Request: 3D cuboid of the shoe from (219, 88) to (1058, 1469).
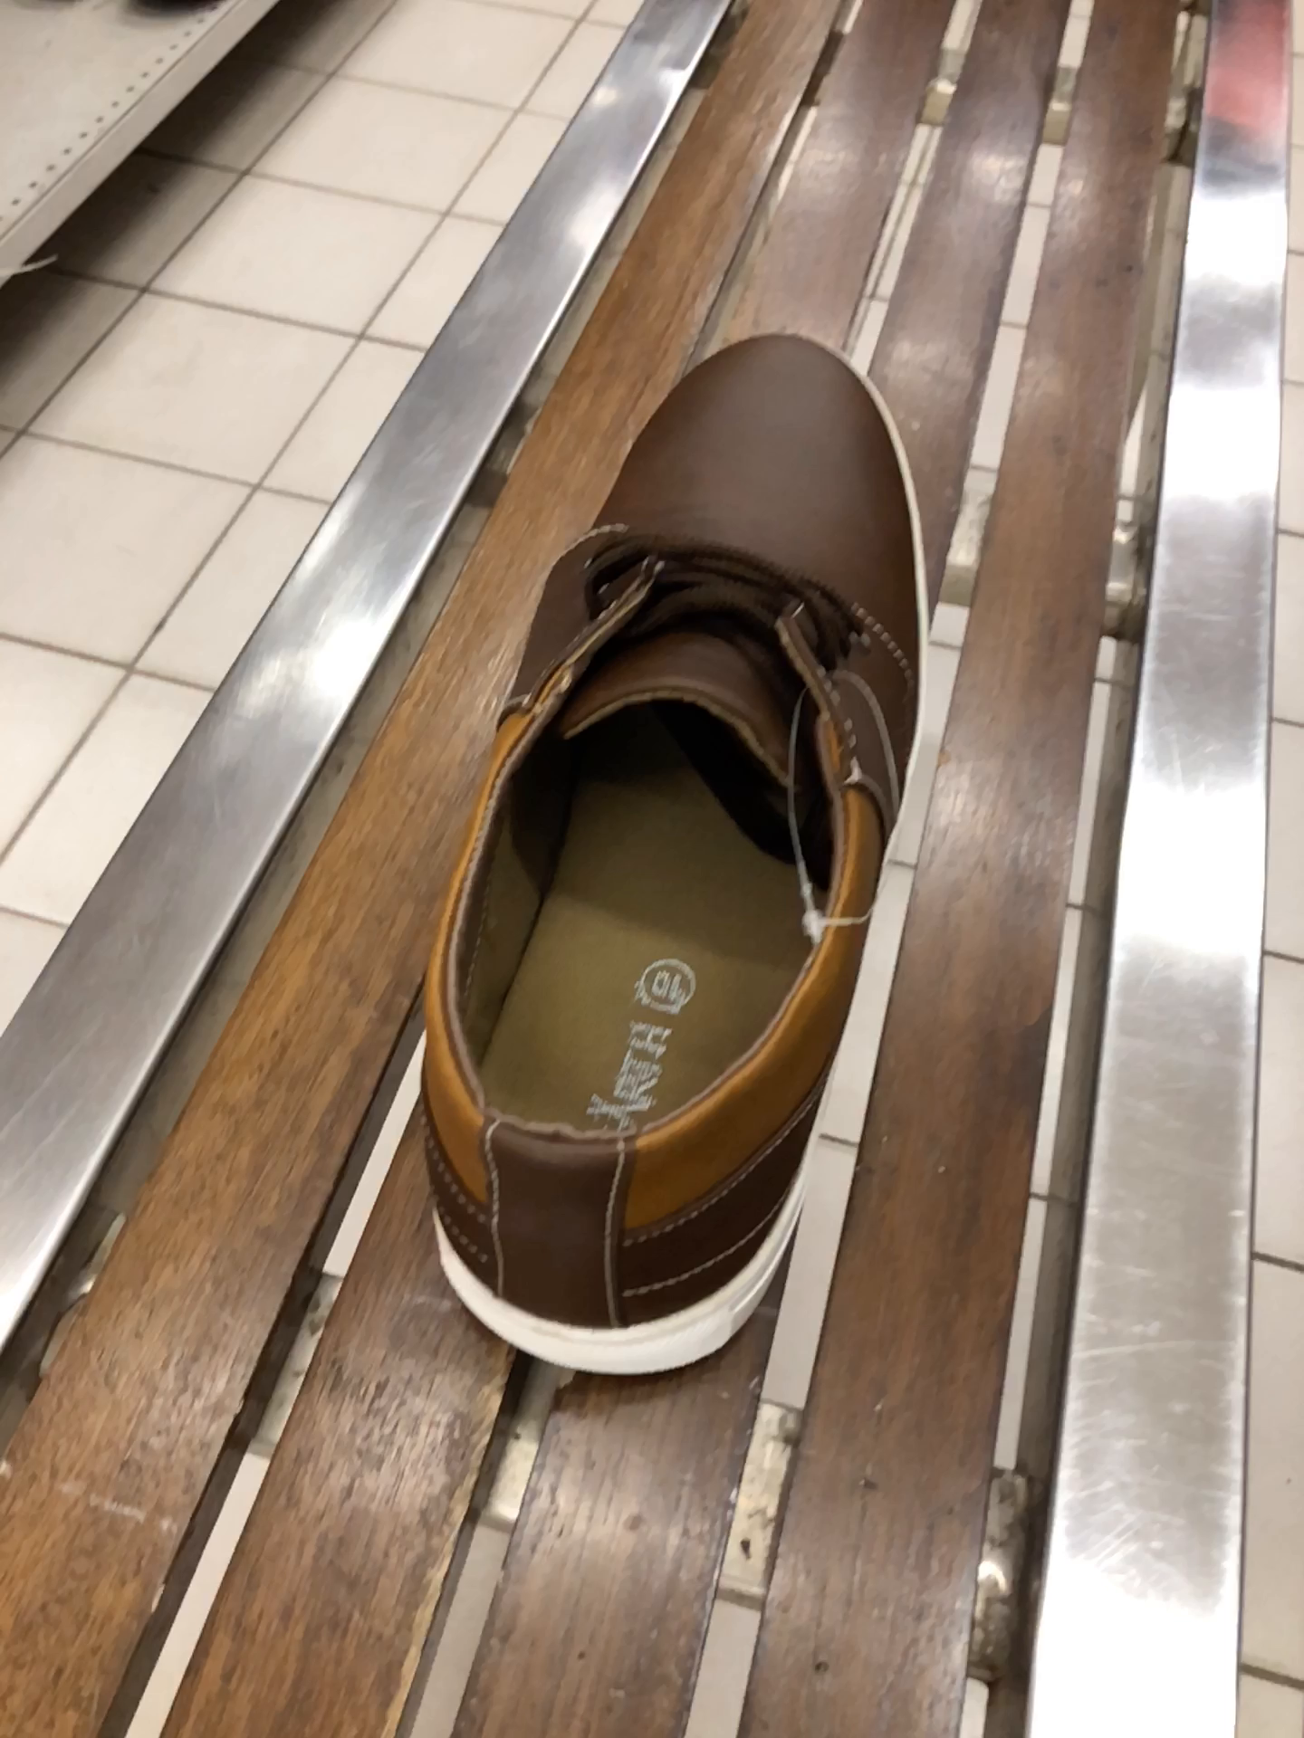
[{"bbox_3d":[0.020,-0.045,0.343,0.109,0.114,0.313,10,55,6],"label":"shoe"}]
